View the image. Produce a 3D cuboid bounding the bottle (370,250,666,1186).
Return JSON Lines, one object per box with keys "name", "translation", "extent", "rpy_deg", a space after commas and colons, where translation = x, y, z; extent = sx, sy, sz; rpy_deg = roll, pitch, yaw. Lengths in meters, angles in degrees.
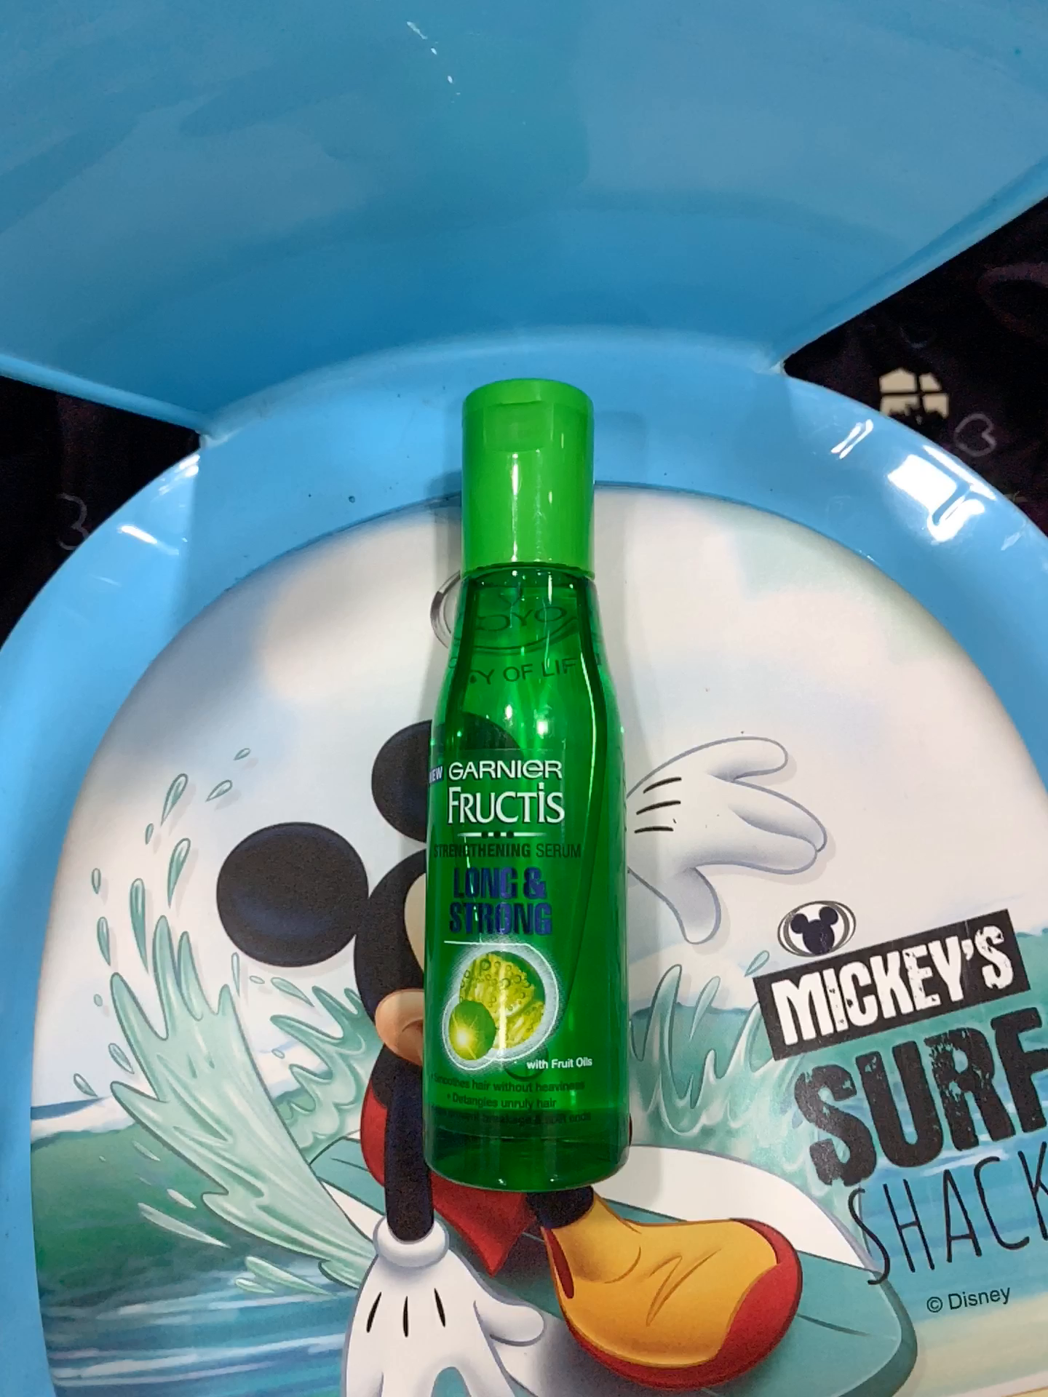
{"name": "bottle", "translation": [0.001, 0.002, 0.210], "extent": [0.040, 0.040, 0.160], "rpy_deg": [-4, 79, 25]}
